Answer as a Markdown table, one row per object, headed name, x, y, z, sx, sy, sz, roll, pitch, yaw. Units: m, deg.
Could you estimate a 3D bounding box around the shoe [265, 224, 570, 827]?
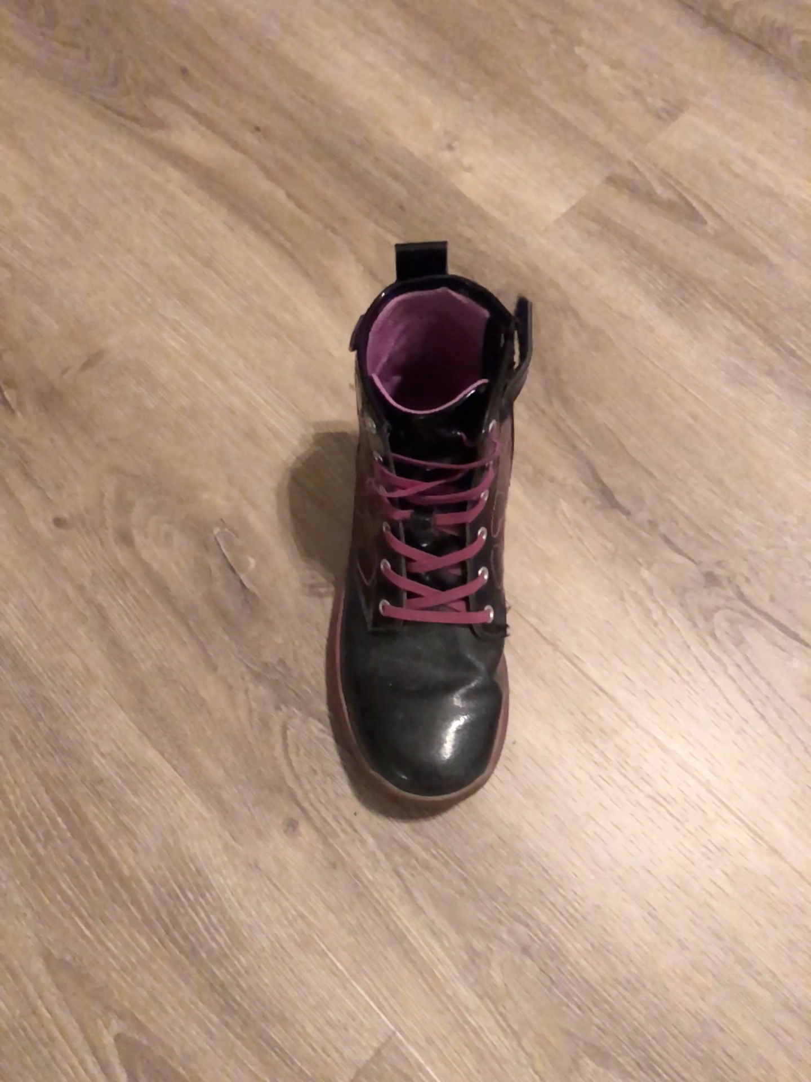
| name | x | y | z | sx | sy | sz | roll | pitch | yaw |
| --- | --- | --- | --- | --- | --- | --- | --- | --- | --- |
| shoe | 0.009 | 0.001 | 0.408 | 0.100 | 0.150 | 0.230 | 2 | 68 | 1 |
